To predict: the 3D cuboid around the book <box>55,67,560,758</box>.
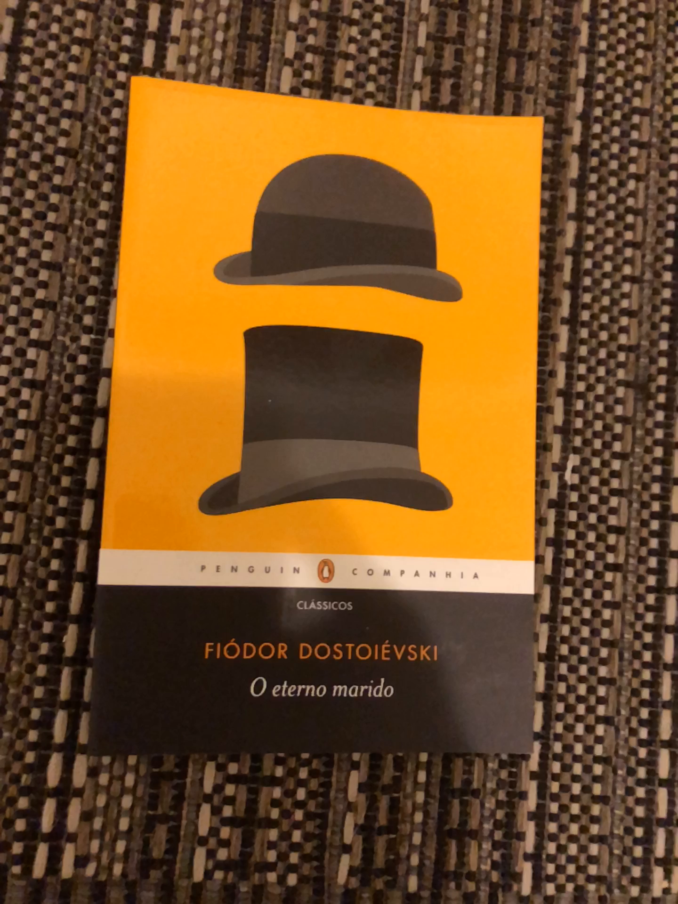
[{"bbox_3d":[-0.004,-0.010,0.214,0.130,0.020,0.180,3,84,-8],"label":"book"}]
